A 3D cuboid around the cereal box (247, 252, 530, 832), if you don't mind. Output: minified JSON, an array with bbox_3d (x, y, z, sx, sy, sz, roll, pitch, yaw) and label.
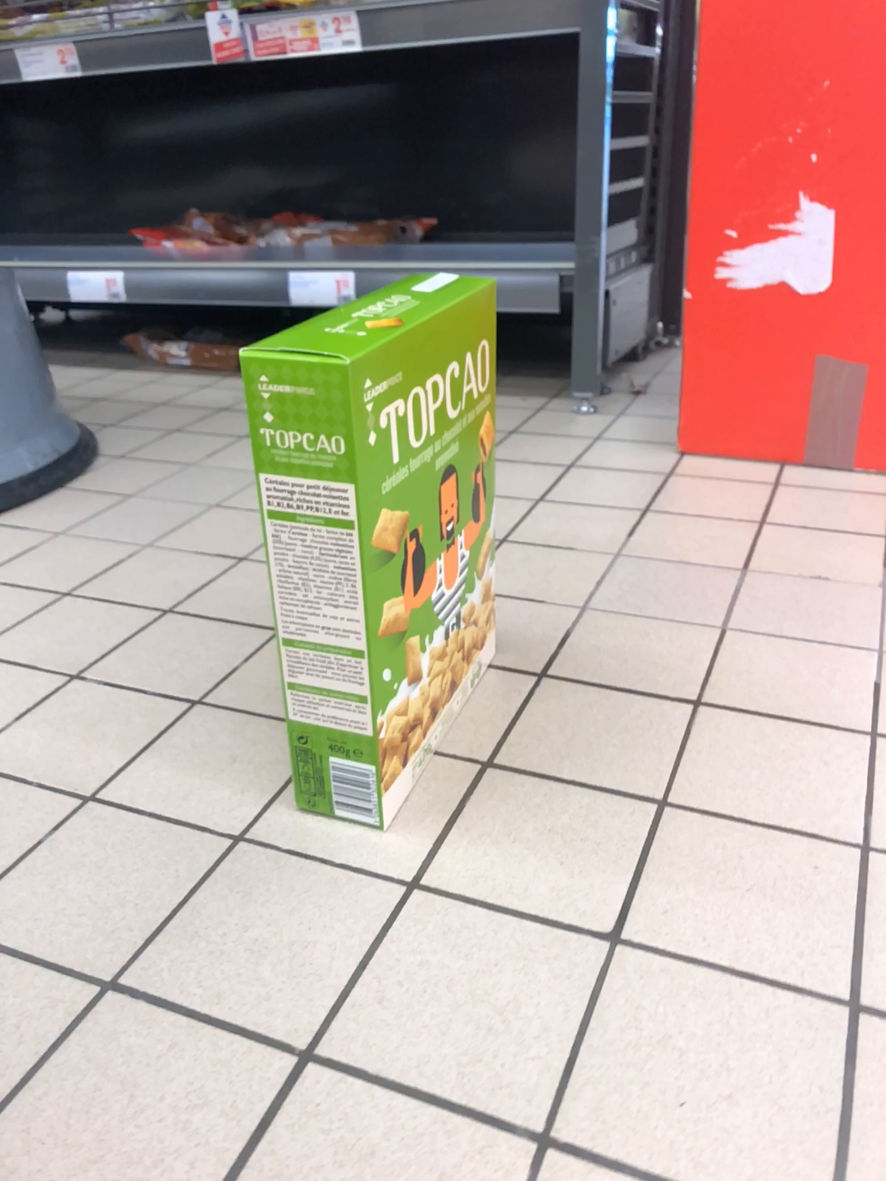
[{"bbox_3d":[-0.015,-0.037,0.533,0.060,0.249,0.201,10,30,19],"label":"cereal box"}]
